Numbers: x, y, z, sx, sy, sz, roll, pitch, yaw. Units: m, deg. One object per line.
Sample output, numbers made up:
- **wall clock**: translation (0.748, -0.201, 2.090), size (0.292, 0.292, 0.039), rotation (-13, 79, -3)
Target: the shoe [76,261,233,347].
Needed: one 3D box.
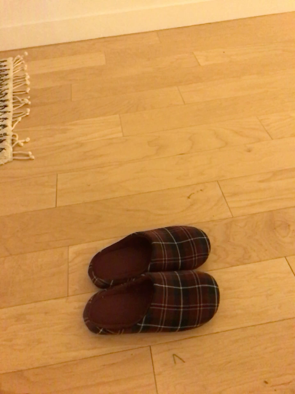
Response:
- **shoe**: translation (0.008, 0.196, 0.599), size (0.270, 0.030, 0.121), rotation (-7, 48, 0)

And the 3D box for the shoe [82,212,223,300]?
- **shoe**: translation (0.005, 0.117, 0.668), size (0.270, 0.030, 0.121), rotation (-13, 48, -6)
